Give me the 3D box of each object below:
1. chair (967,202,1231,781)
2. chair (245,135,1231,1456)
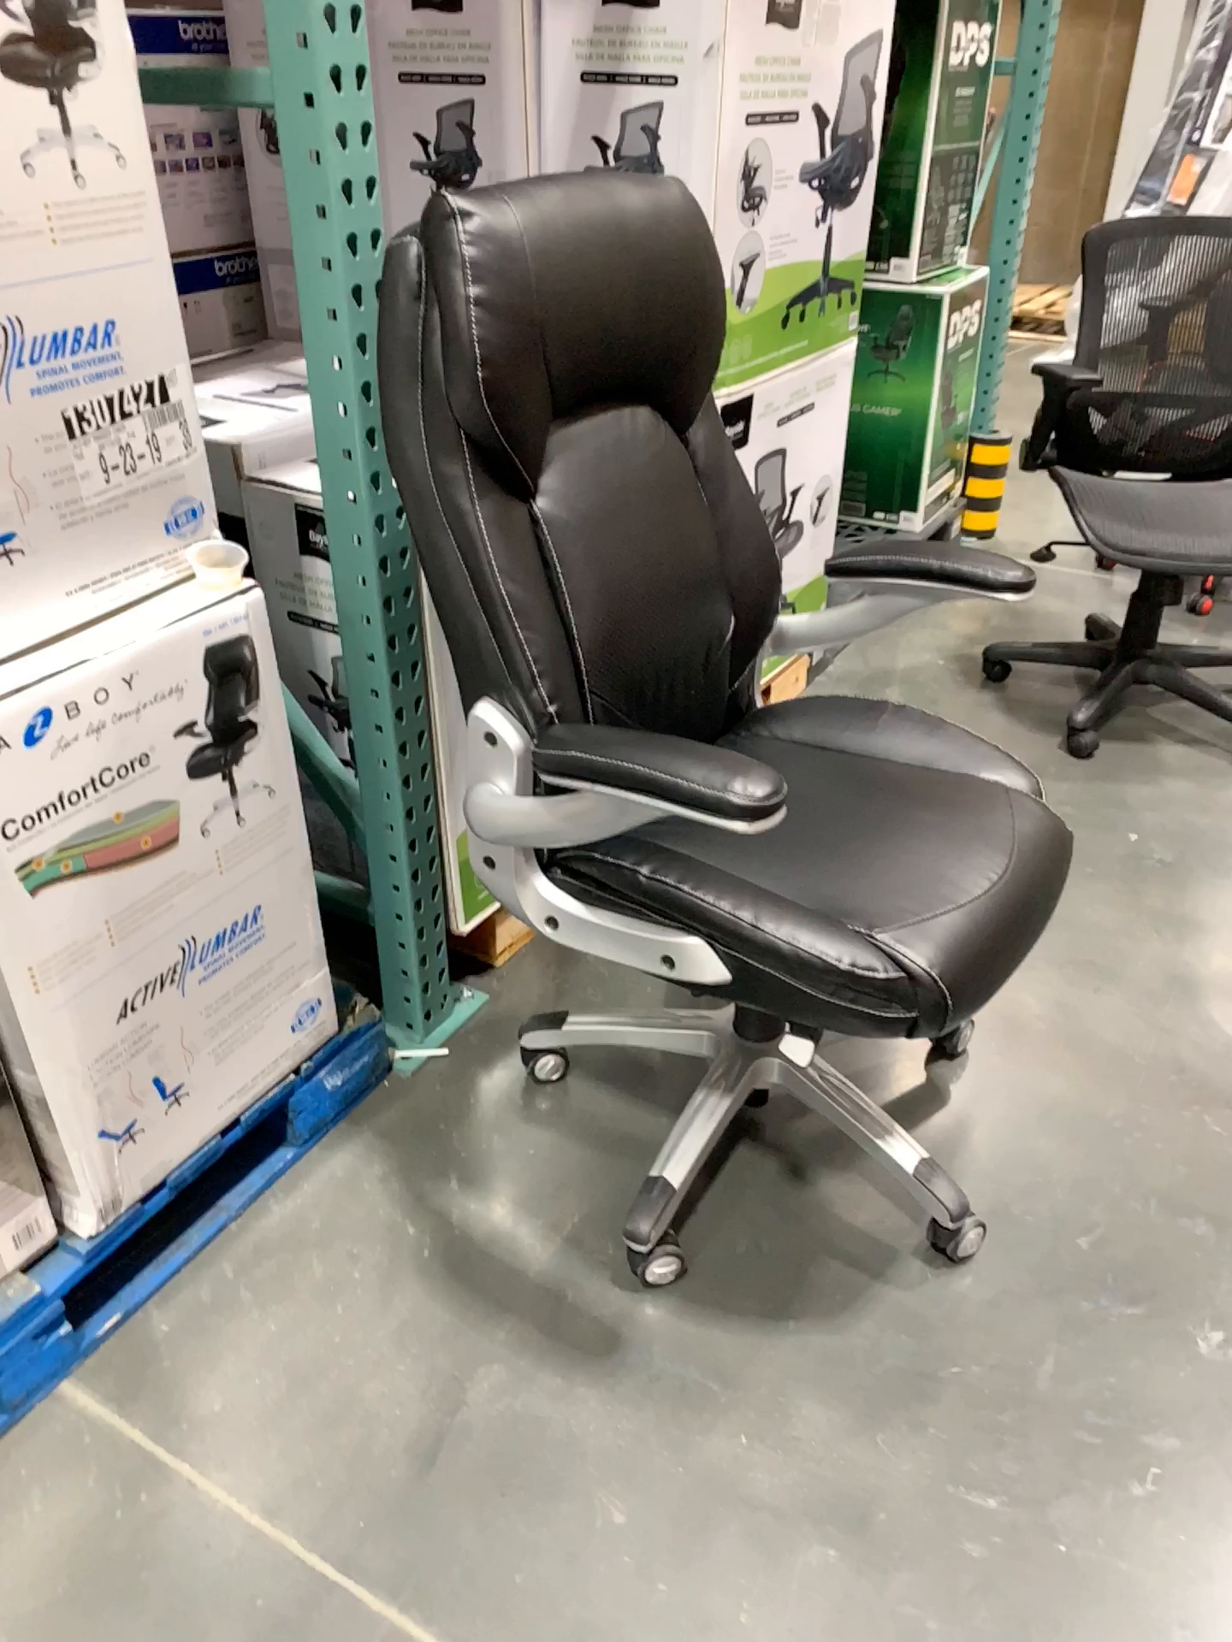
[{"bbox_3d":[1.135,-0.702,2.557,0.638,0.919,0.788,5,32,8],"label":"chair"},{"bbox_3d":[0.189,-0.099,1.414,0.705,1.128,0.731,20,37,29],"label":"chair"}]
